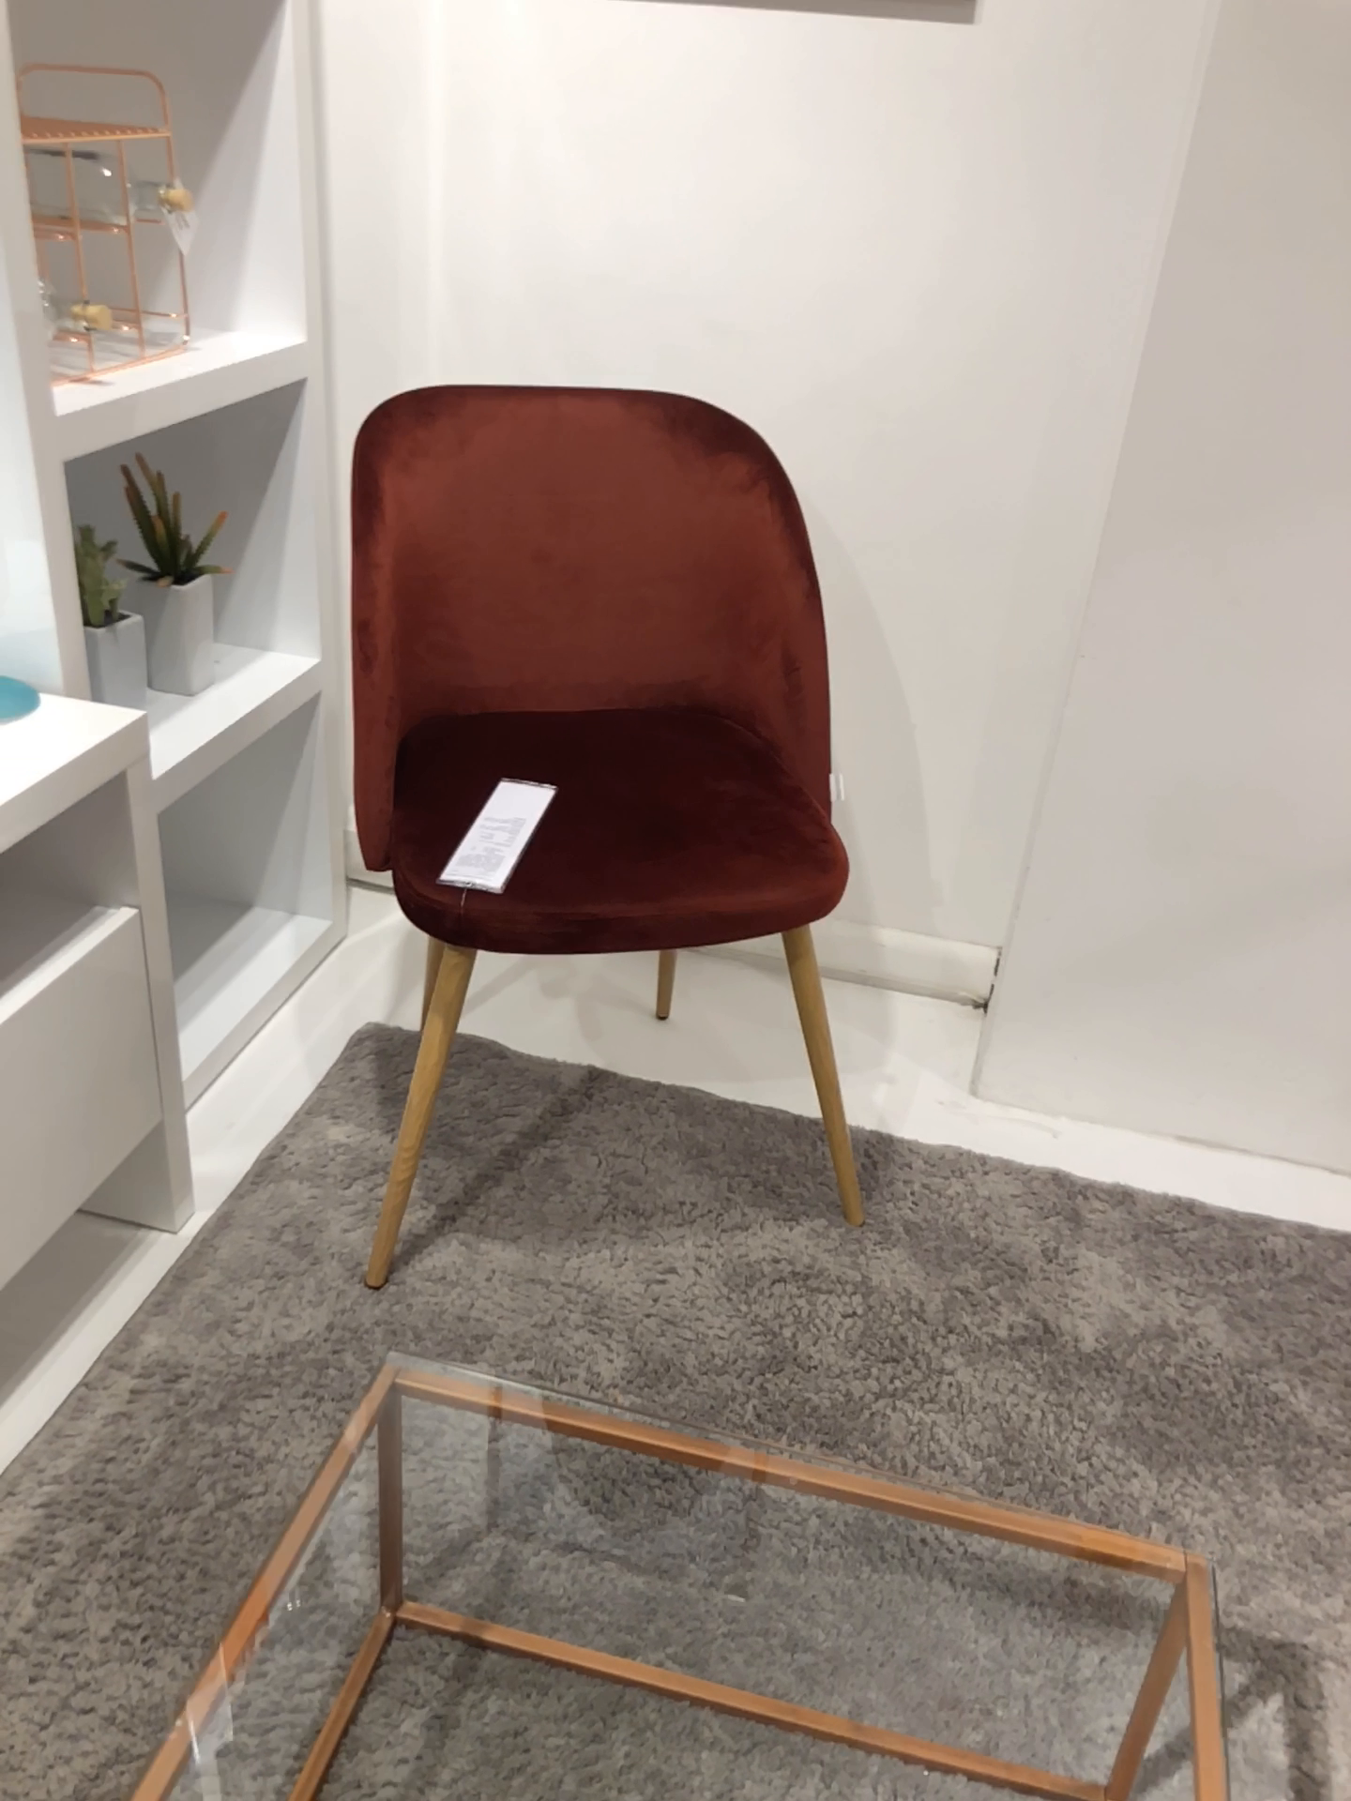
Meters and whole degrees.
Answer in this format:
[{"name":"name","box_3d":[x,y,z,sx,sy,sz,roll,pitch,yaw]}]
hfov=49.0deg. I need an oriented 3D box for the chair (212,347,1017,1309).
[{"name":"chair","box_3d":[-0.136,-0.127,1.563,0.591,0.734,0.655,-5,31,-19]}]
